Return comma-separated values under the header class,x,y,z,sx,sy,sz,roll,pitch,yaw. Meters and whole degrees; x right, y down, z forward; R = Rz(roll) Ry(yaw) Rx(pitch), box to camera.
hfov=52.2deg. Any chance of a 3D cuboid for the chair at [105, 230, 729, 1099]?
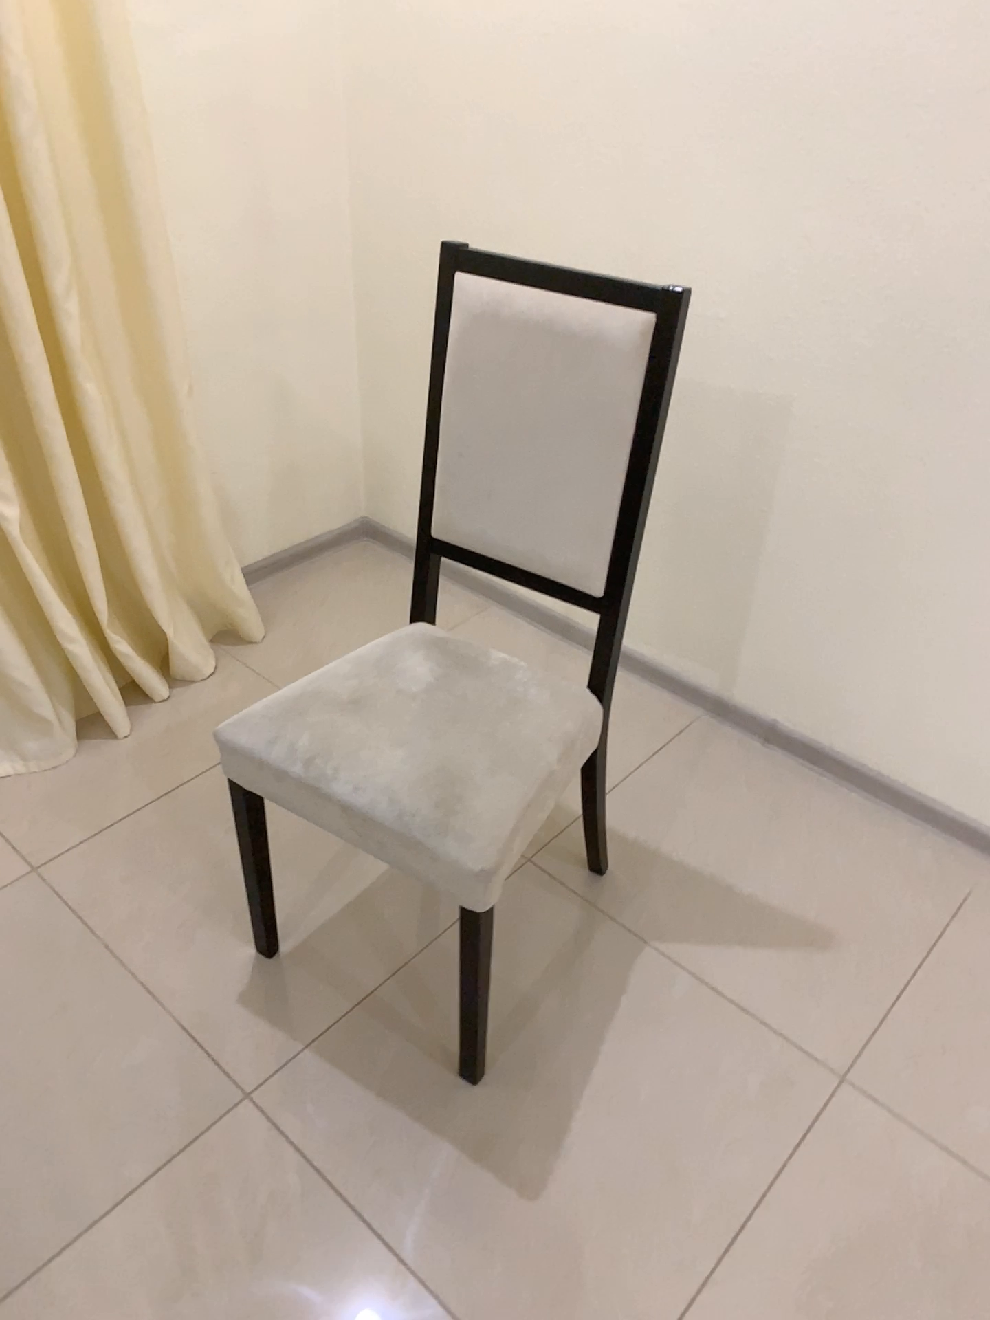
class,x,y,z,sx,sy,sz,roll,pitch,yaw
chair,-0.072,-0.004,1.385,0.481,0.964,0.512,21,38,27
